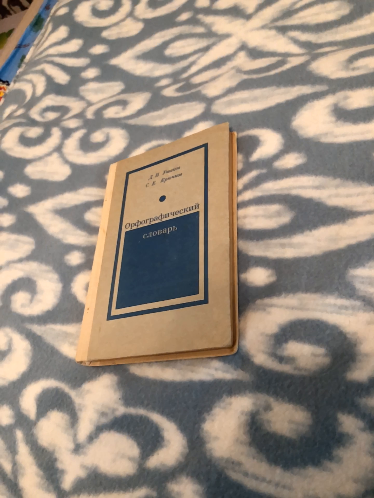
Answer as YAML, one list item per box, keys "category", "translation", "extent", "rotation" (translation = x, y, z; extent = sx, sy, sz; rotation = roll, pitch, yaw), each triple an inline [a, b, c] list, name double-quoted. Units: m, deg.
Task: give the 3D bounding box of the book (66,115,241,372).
- category: "book"
  translation: [-0.024, -0.009, 0.352]
  extent: [0.137, 0.022, 0.211]
  rotation: [-13, 56, 26]
